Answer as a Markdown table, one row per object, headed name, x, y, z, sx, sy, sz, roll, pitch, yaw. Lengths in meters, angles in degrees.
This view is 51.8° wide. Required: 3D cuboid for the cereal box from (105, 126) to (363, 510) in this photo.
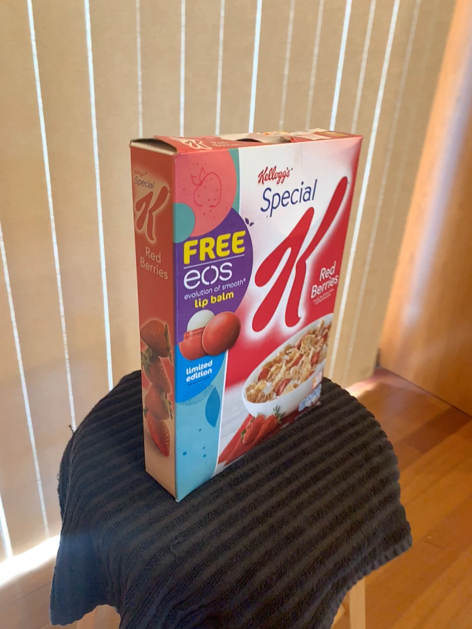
| name | x | y | z | sx | sy | sz | roll | pitch | yaw |
| --- | --- | --- | --- | --- | --- | --- | --- | --- | --- |
| cereal box | 0.005 | -0.007 | 0.403 | 0.050 | 0.269 | 0.210 | 26 | 34 | 37 |
